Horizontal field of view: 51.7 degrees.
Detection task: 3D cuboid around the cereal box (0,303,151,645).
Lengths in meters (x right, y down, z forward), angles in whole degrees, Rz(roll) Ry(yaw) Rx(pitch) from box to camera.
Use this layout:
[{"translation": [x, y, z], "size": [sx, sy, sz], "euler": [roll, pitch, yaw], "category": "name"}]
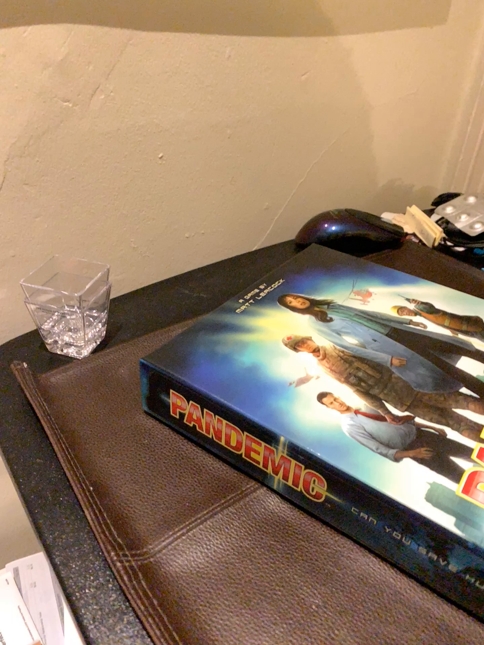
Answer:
[{"translation": [-0.510, 0.527, 0.862], "size": [0.510, 0.994, 0.473], "euler": [3, 36, 4], "category": "cereal box"}]
